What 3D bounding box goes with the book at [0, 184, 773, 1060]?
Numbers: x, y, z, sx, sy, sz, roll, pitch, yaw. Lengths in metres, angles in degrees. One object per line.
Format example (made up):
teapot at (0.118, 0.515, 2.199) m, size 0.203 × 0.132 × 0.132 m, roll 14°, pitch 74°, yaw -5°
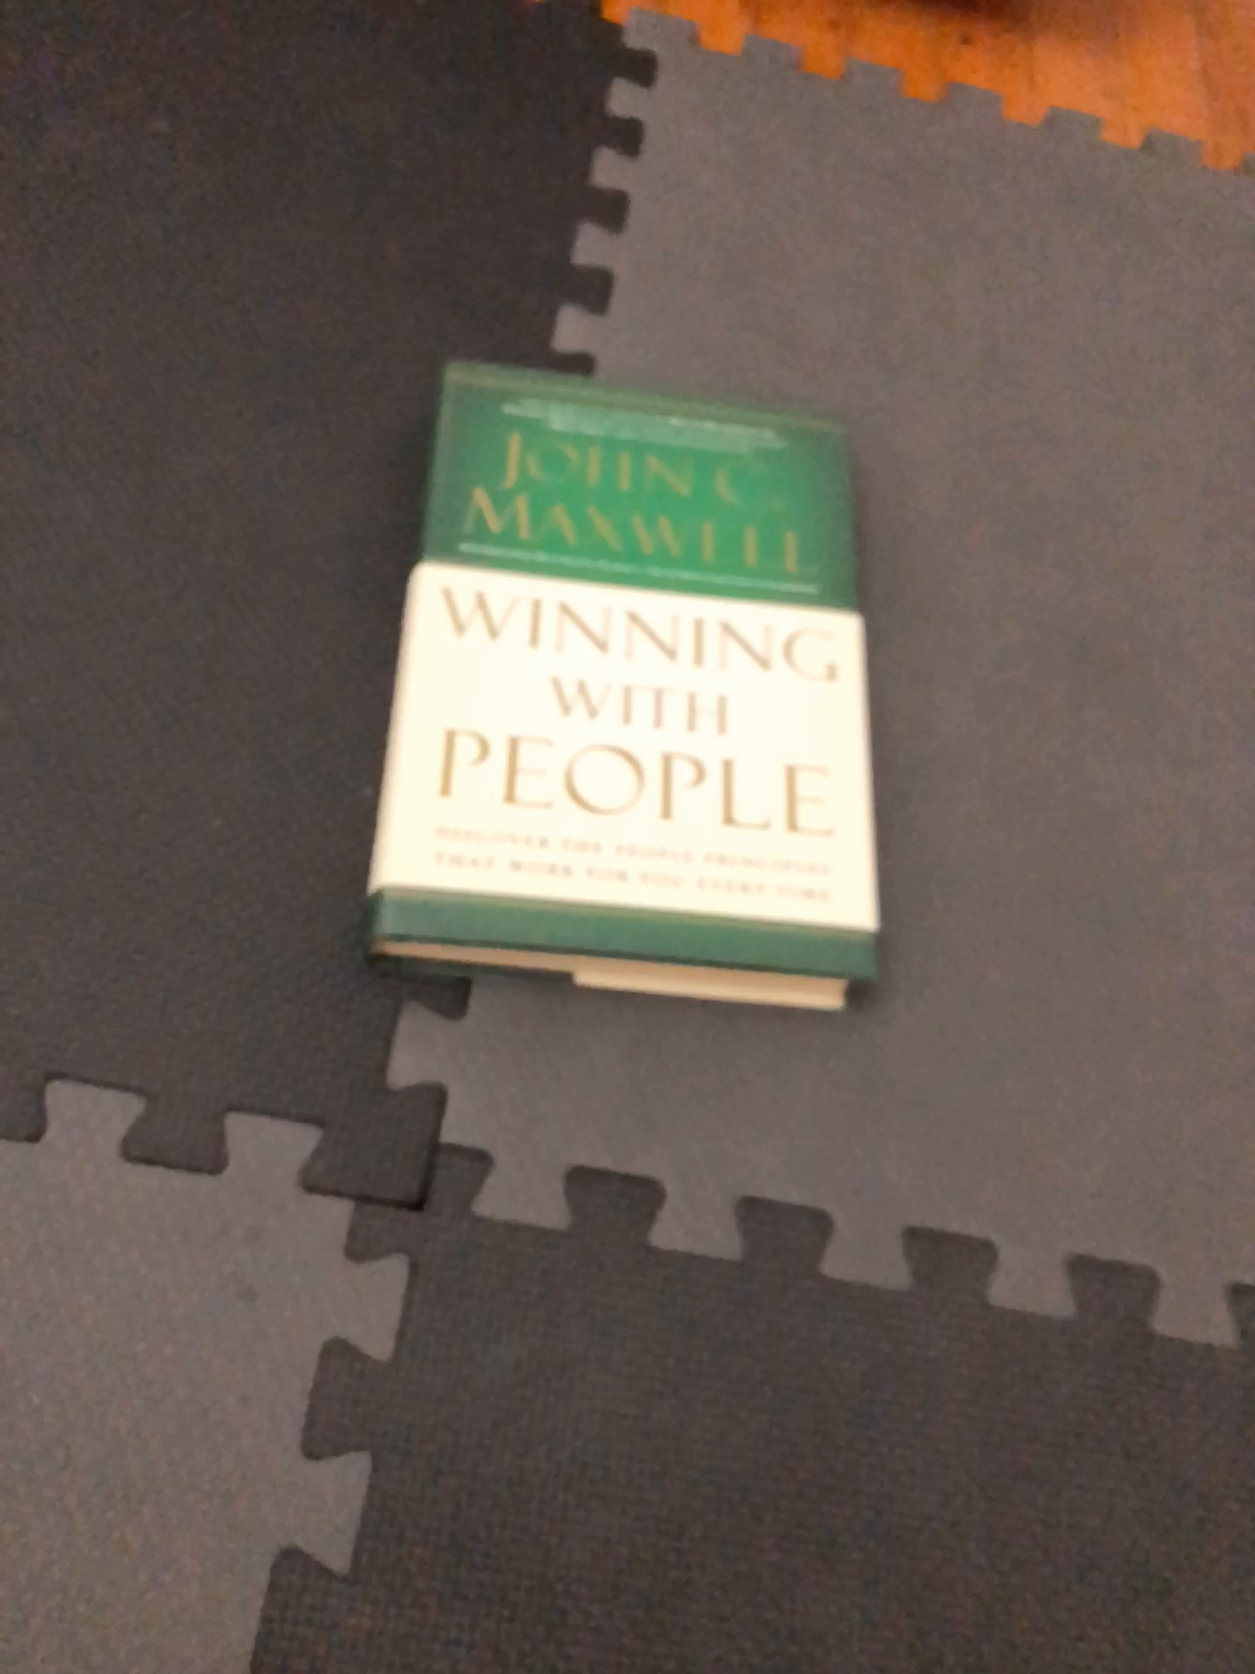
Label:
book at (-0.058, -0.083, 0.451) m, size 0.200 × 0.030 × 0.291 m, roll 8°, pitch 61°, yaw -6°
